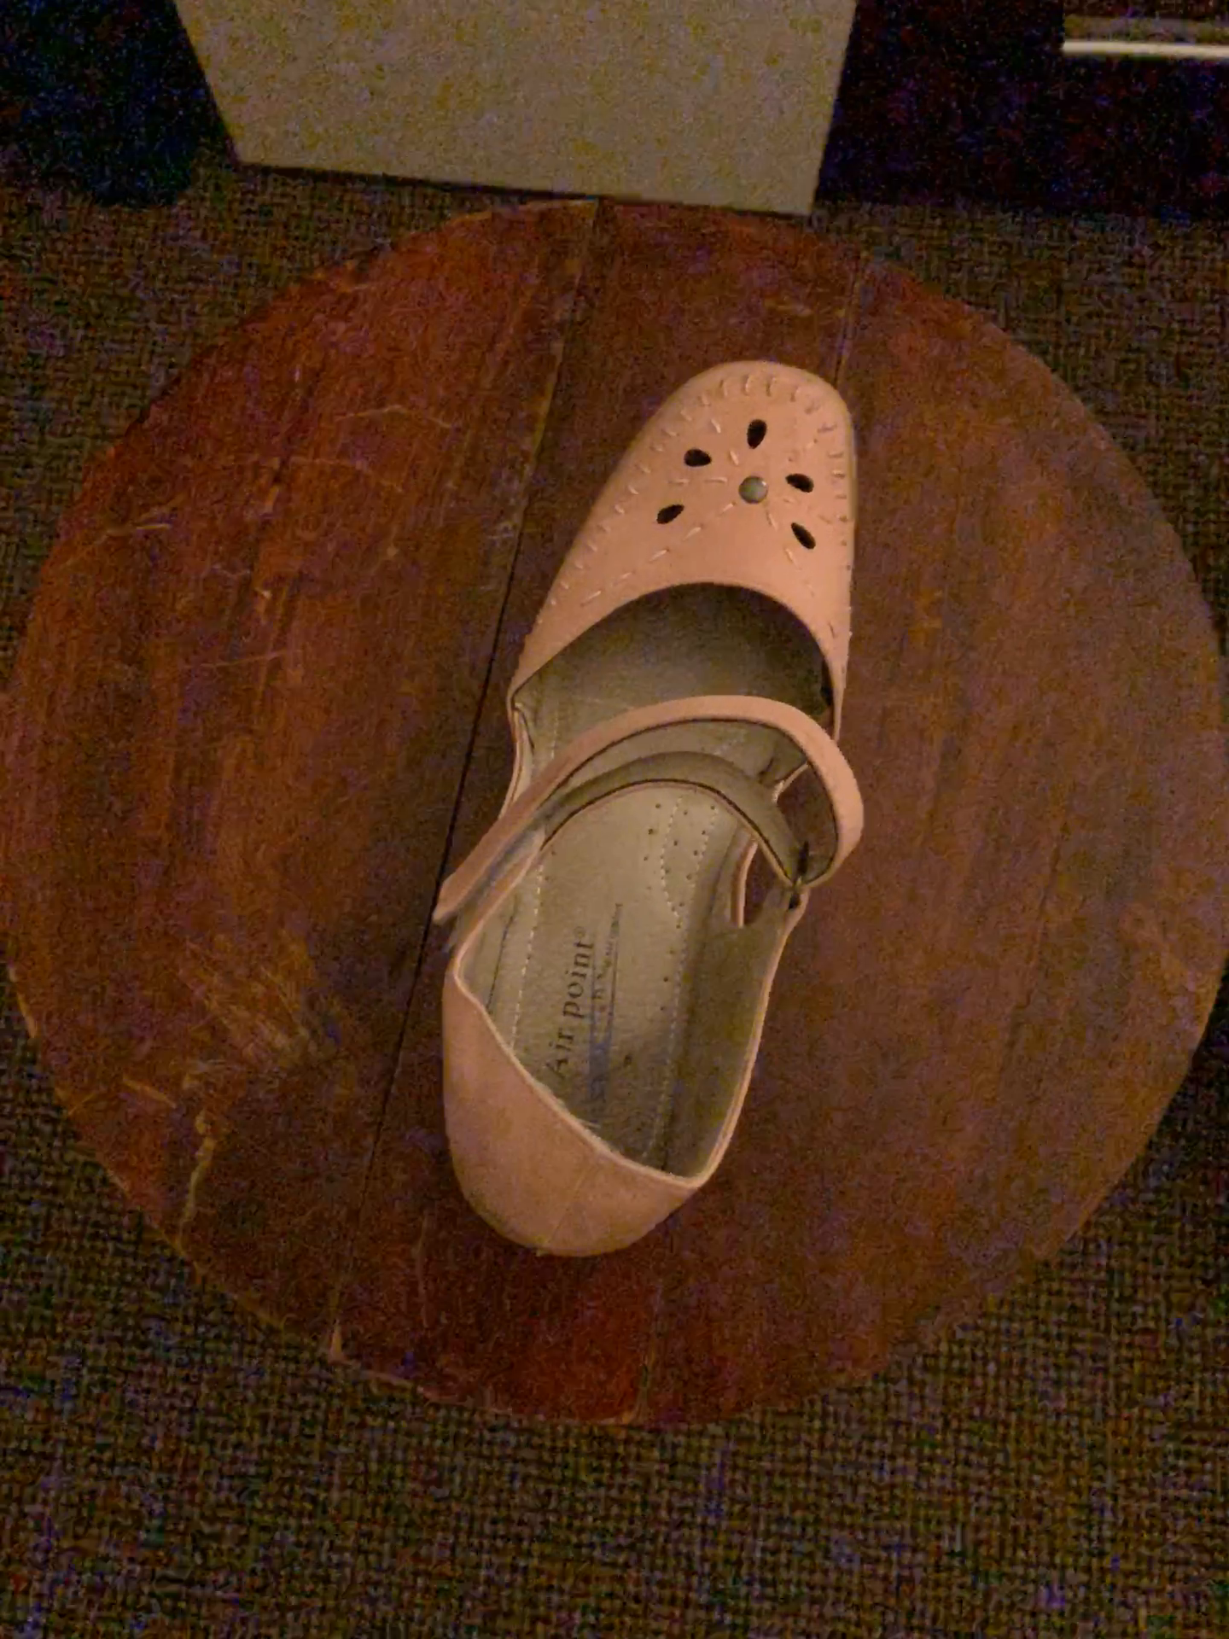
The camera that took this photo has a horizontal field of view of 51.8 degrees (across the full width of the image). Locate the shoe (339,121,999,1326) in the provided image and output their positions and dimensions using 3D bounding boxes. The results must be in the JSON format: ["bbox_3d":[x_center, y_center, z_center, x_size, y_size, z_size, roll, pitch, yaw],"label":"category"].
[{"bbox_3d":[0.020,-0.027,0.335,0.101,0.092,0.272,11,79,3],"label":"shoe"}]
